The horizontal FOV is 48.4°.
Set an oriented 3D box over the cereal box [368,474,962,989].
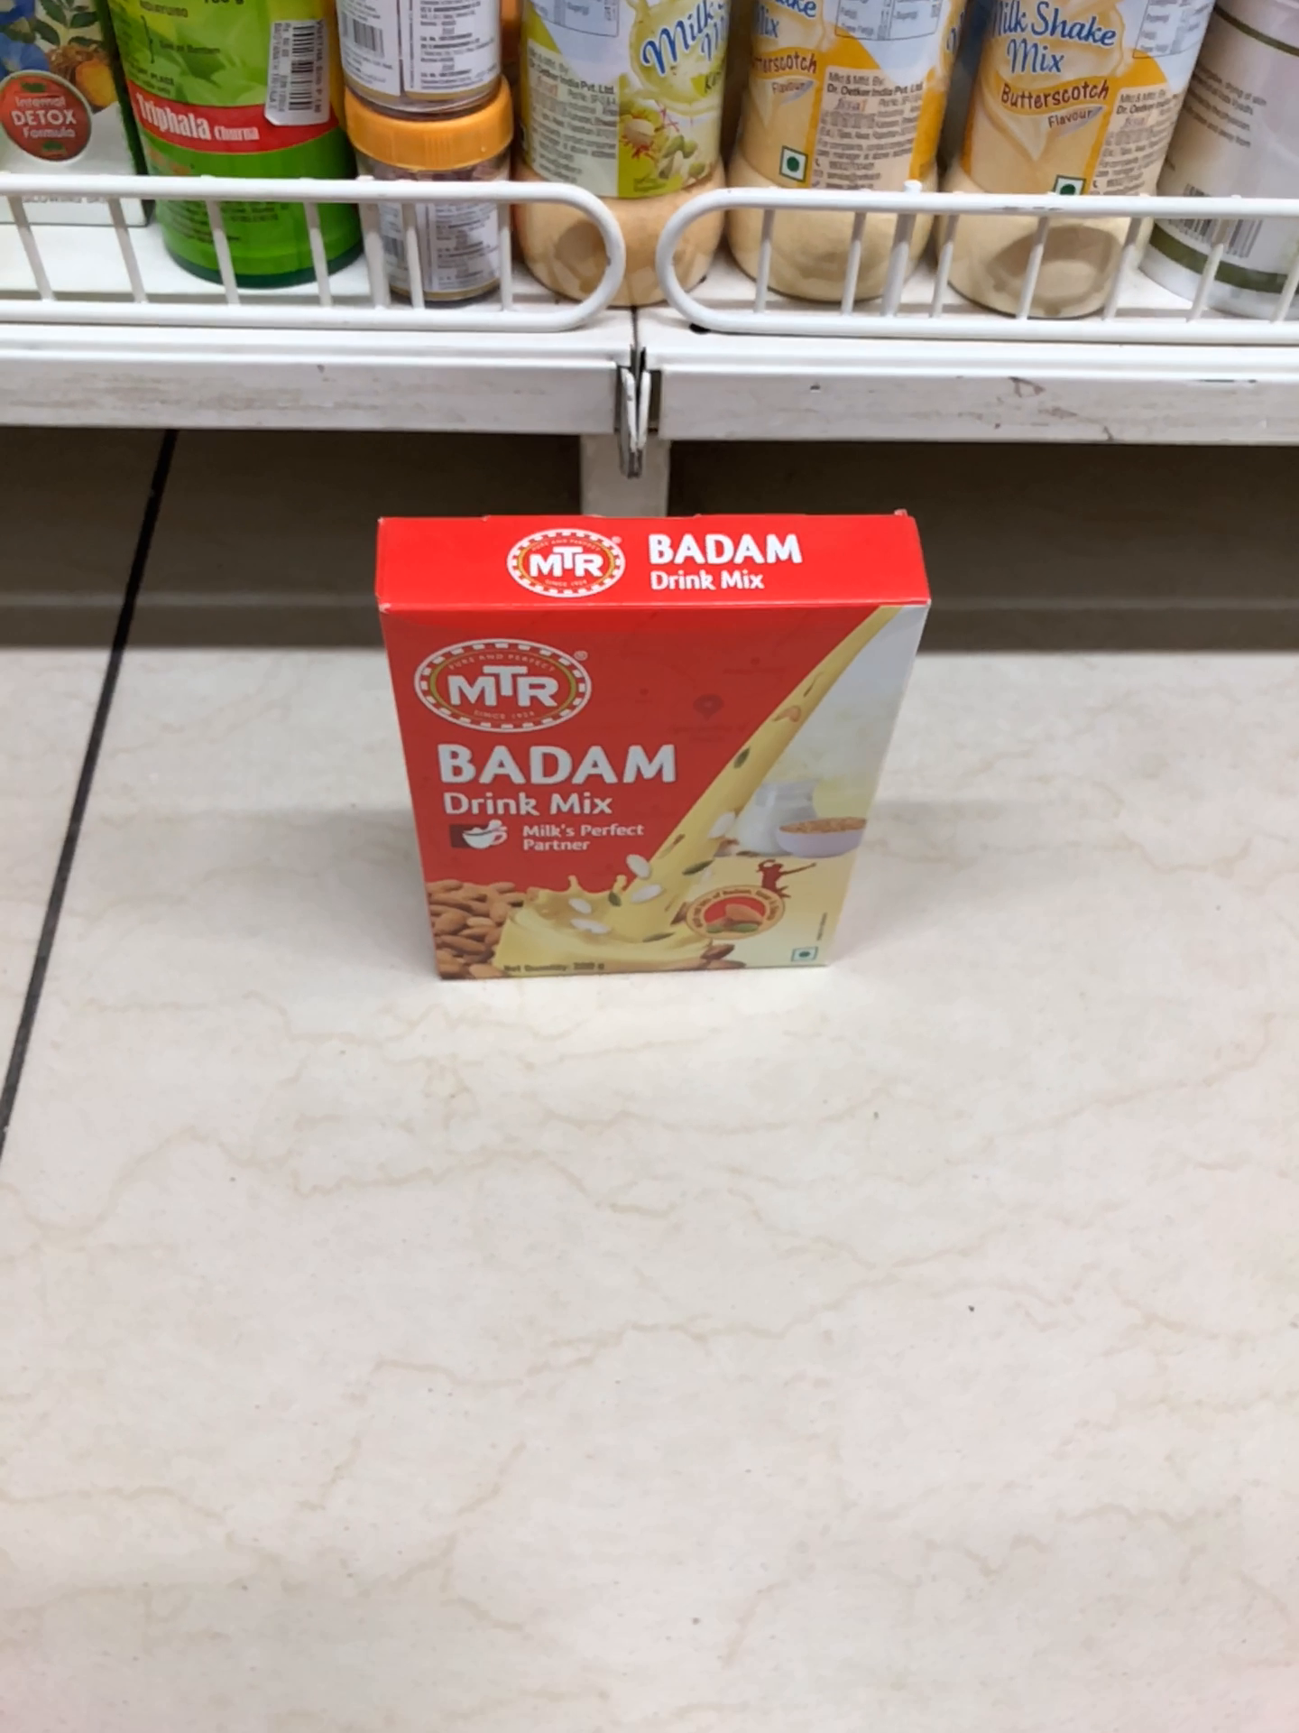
[{"bbox_3d":[-0.001,-0.028,0.391,0.130,0.159,0.040,-2,54,-5],"label":"cereal box"}]
